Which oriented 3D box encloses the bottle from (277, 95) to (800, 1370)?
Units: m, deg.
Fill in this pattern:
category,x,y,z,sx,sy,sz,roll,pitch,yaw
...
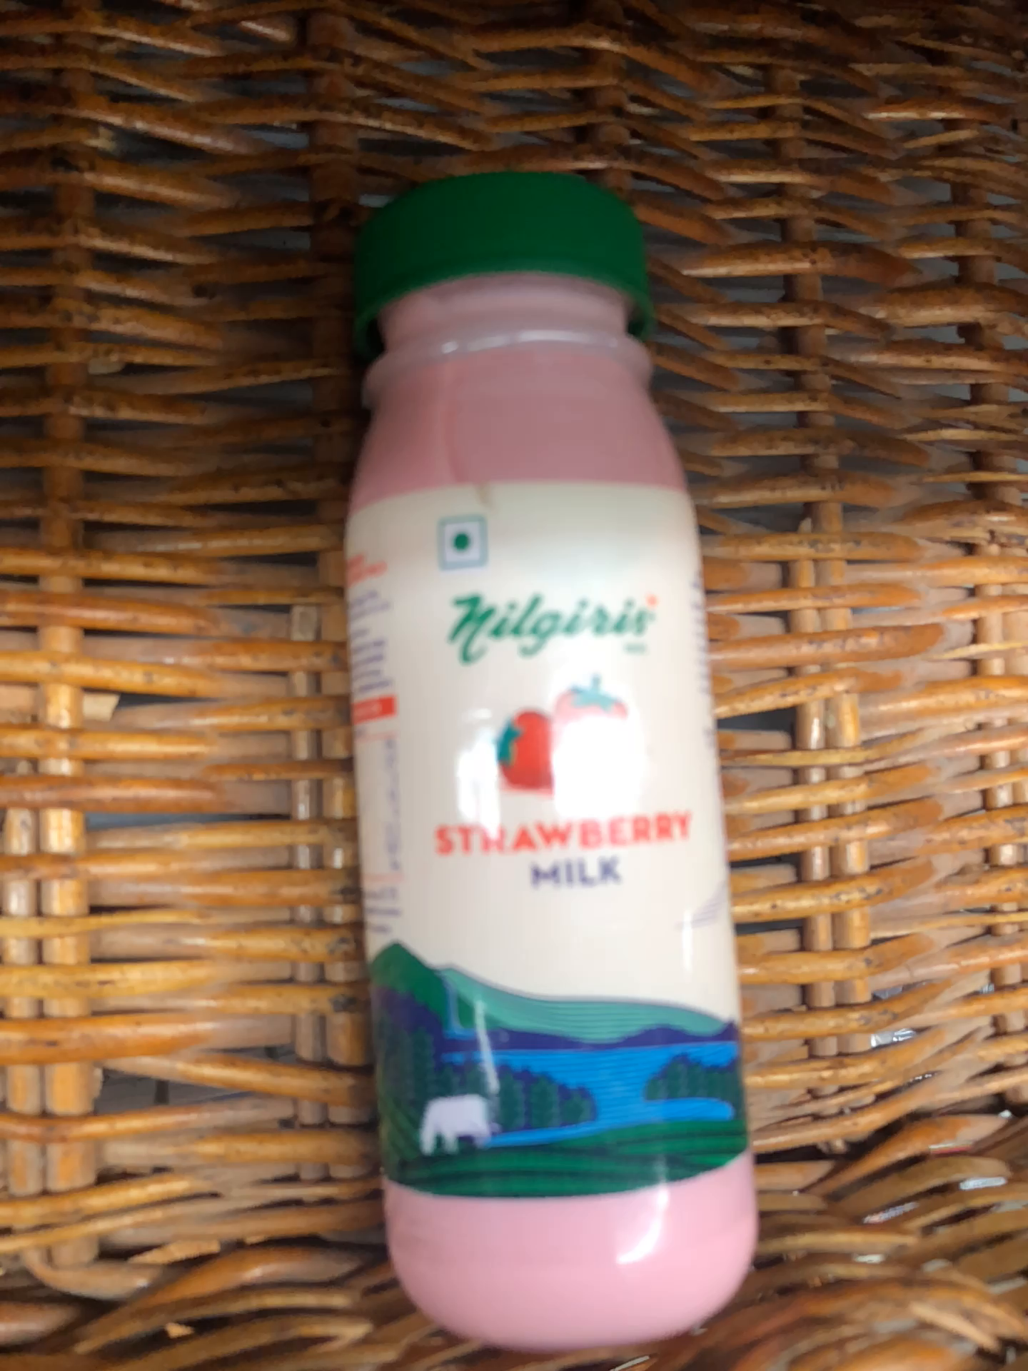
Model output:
category,x,y,z,sx,sy,sz,roll,pitch,yaw
bottle,-0.001,0.009,0.150,0.050,0.040,0.150,-2,86,-17
